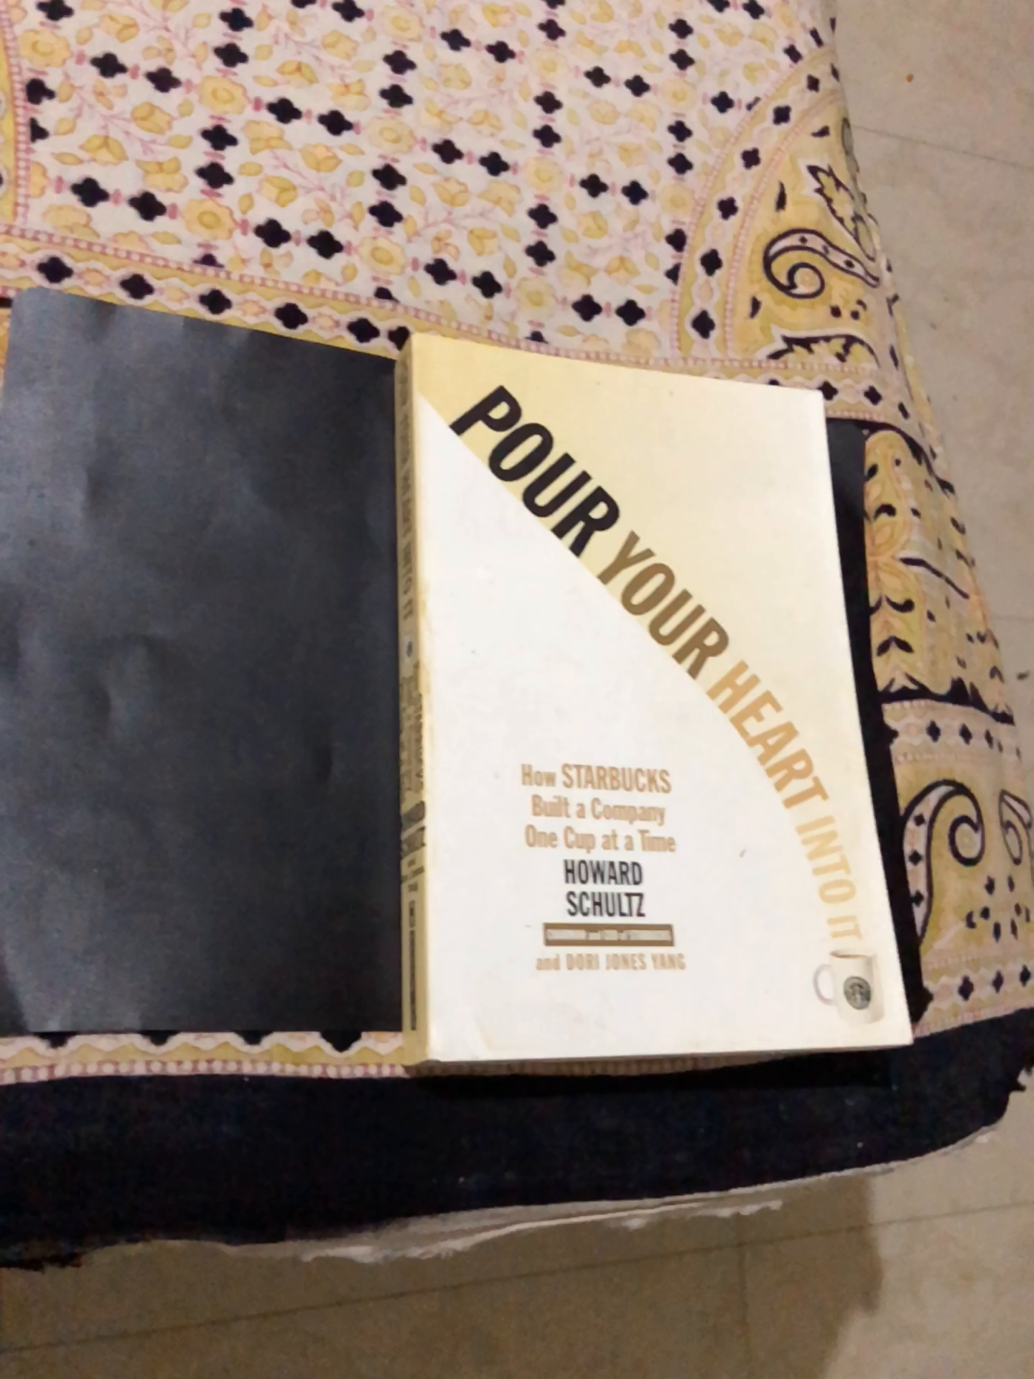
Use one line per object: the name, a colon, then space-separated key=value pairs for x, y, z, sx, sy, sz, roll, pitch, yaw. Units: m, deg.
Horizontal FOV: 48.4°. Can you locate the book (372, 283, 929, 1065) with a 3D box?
book: x=0.036 y=-0.005 z=0.383 sx=0.160 sy=0.050 sz=0.240 roll=5 pitch=70 yaw=-19
